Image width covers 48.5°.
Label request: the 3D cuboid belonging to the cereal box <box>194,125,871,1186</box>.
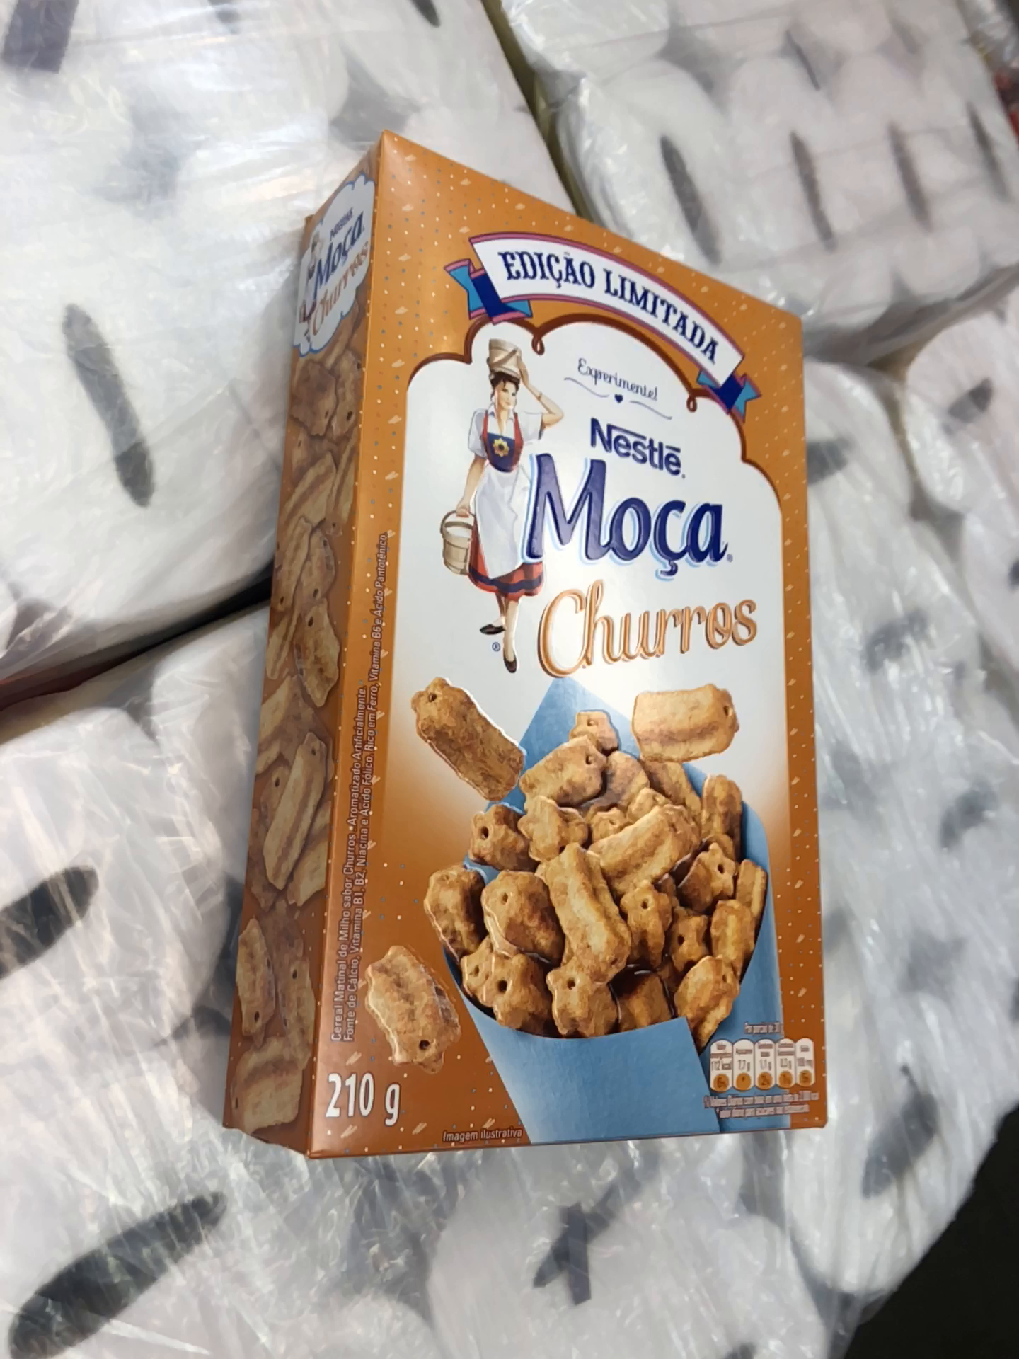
[{"bbox_3d":[0.017,-0.001,0.312,0.171,0.050,0.240,11,73,-32],"label":"cereal box"}]
